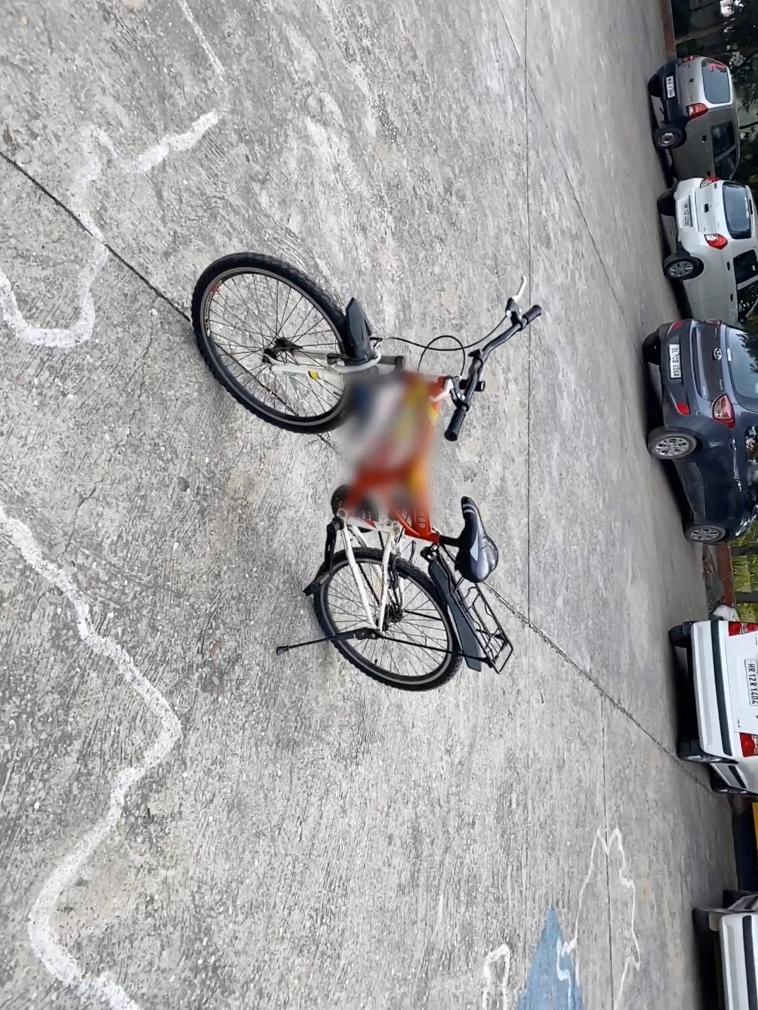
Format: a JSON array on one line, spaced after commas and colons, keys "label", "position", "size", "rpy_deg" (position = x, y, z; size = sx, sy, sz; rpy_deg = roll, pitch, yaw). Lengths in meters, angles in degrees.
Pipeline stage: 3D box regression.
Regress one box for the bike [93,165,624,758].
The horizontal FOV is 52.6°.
[{"label": "bike", "position": [0.037, -0.035, 2.317], "size": [0.587, 0.977, 1.514], "rpy_deg": [-55, 129, -52]}]
